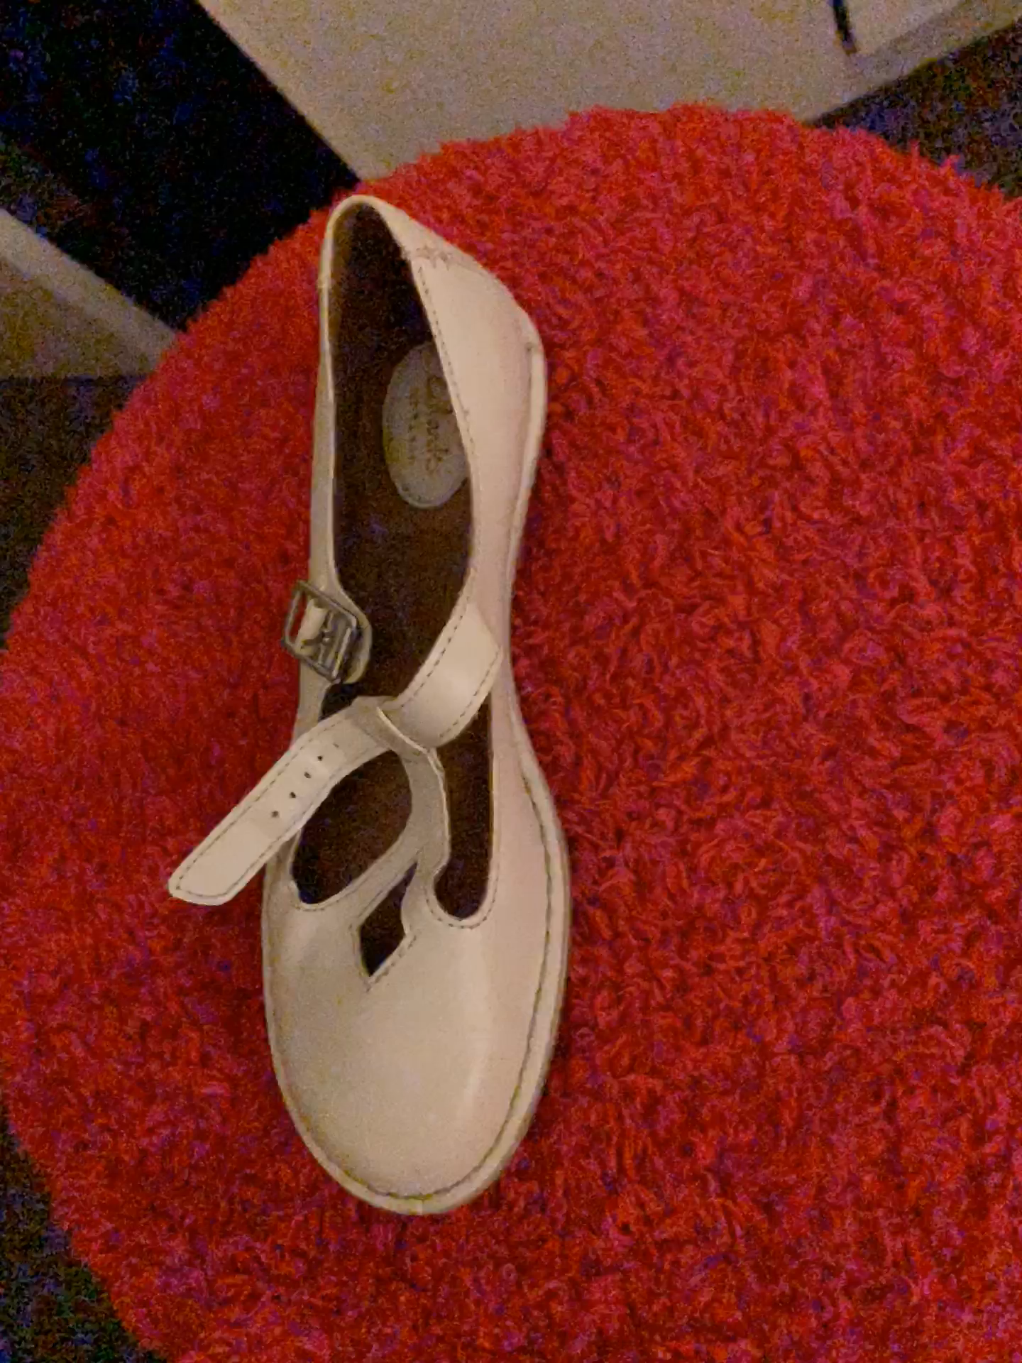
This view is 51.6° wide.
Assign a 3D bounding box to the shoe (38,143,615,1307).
[{"bbox_3d":[-0.041,0.007,0.289,0.100,0.089,0.261,-10,70,26],"label":"shoe"}]
